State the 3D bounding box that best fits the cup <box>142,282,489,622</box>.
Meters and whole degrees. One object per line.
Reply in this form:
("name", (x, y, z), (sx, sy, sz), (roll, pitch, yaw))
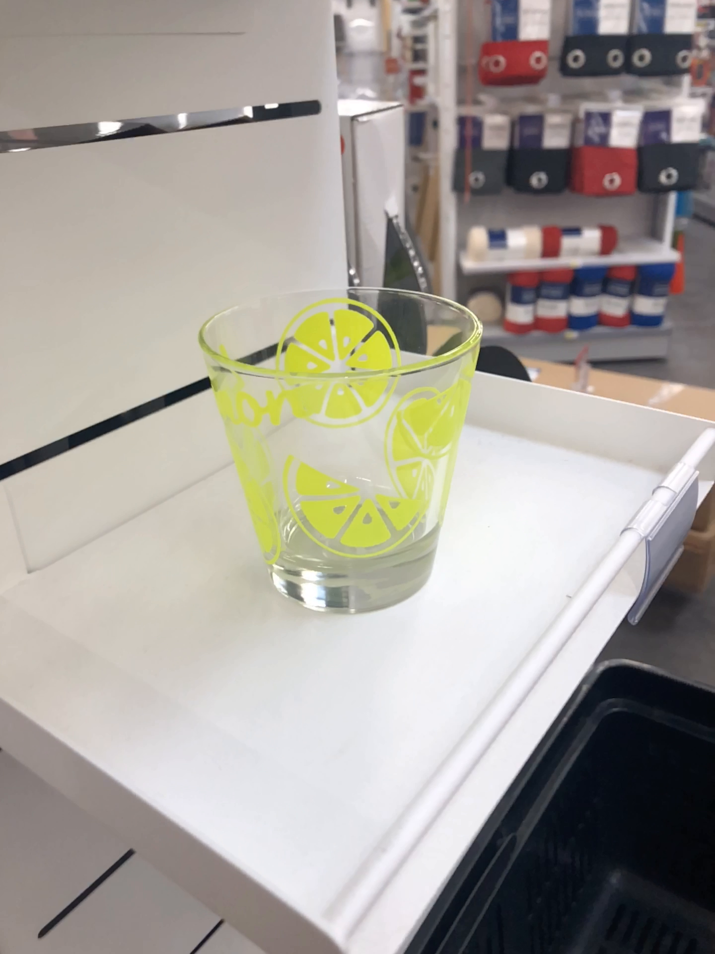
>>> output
("cup", (-0.005, -0.013, 0.248), (0.084, 0.075, 0.080), (-2, 27, 1))
